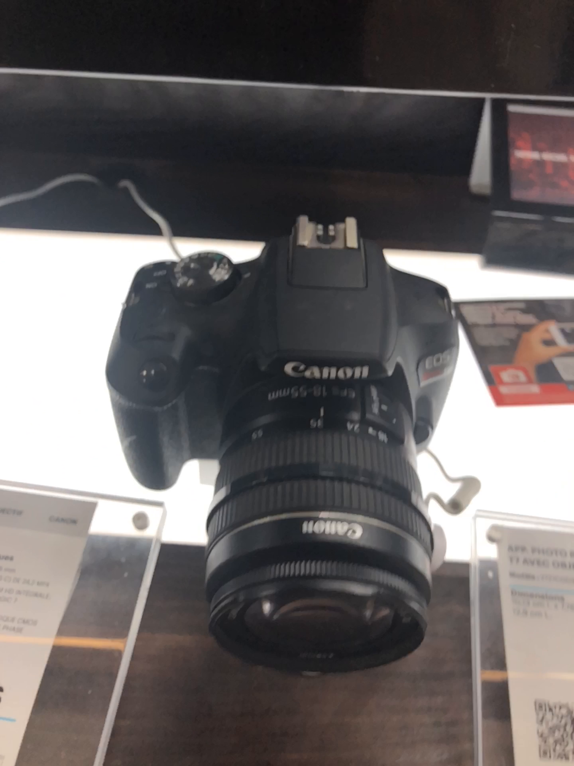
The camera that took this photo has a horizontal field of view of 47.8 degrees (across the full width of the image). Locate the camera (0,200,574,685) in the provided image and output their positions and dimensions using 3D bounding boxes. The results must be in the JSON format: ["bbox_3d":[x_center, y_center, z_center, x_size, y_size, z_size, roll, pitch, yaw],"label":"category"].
[{"bbox_3d":[0.001,0.015,0.206,0.128,0.099,0.112,2,41,0],"label":"camera"}]
